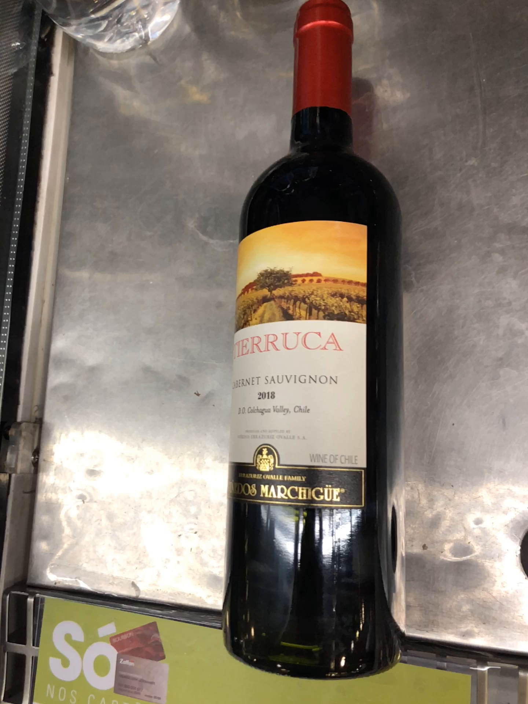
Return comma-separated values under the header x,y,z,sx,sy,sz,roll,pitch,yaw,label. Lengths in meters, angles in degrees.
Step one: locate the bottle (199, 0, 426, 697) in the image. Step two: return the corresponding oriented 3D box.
x,y,z,sx,sy,sz,roll,pitch,yaw,label
0.025,-0.033,0.256,0.080,0.050,0.310,-1,81,19,bottle
